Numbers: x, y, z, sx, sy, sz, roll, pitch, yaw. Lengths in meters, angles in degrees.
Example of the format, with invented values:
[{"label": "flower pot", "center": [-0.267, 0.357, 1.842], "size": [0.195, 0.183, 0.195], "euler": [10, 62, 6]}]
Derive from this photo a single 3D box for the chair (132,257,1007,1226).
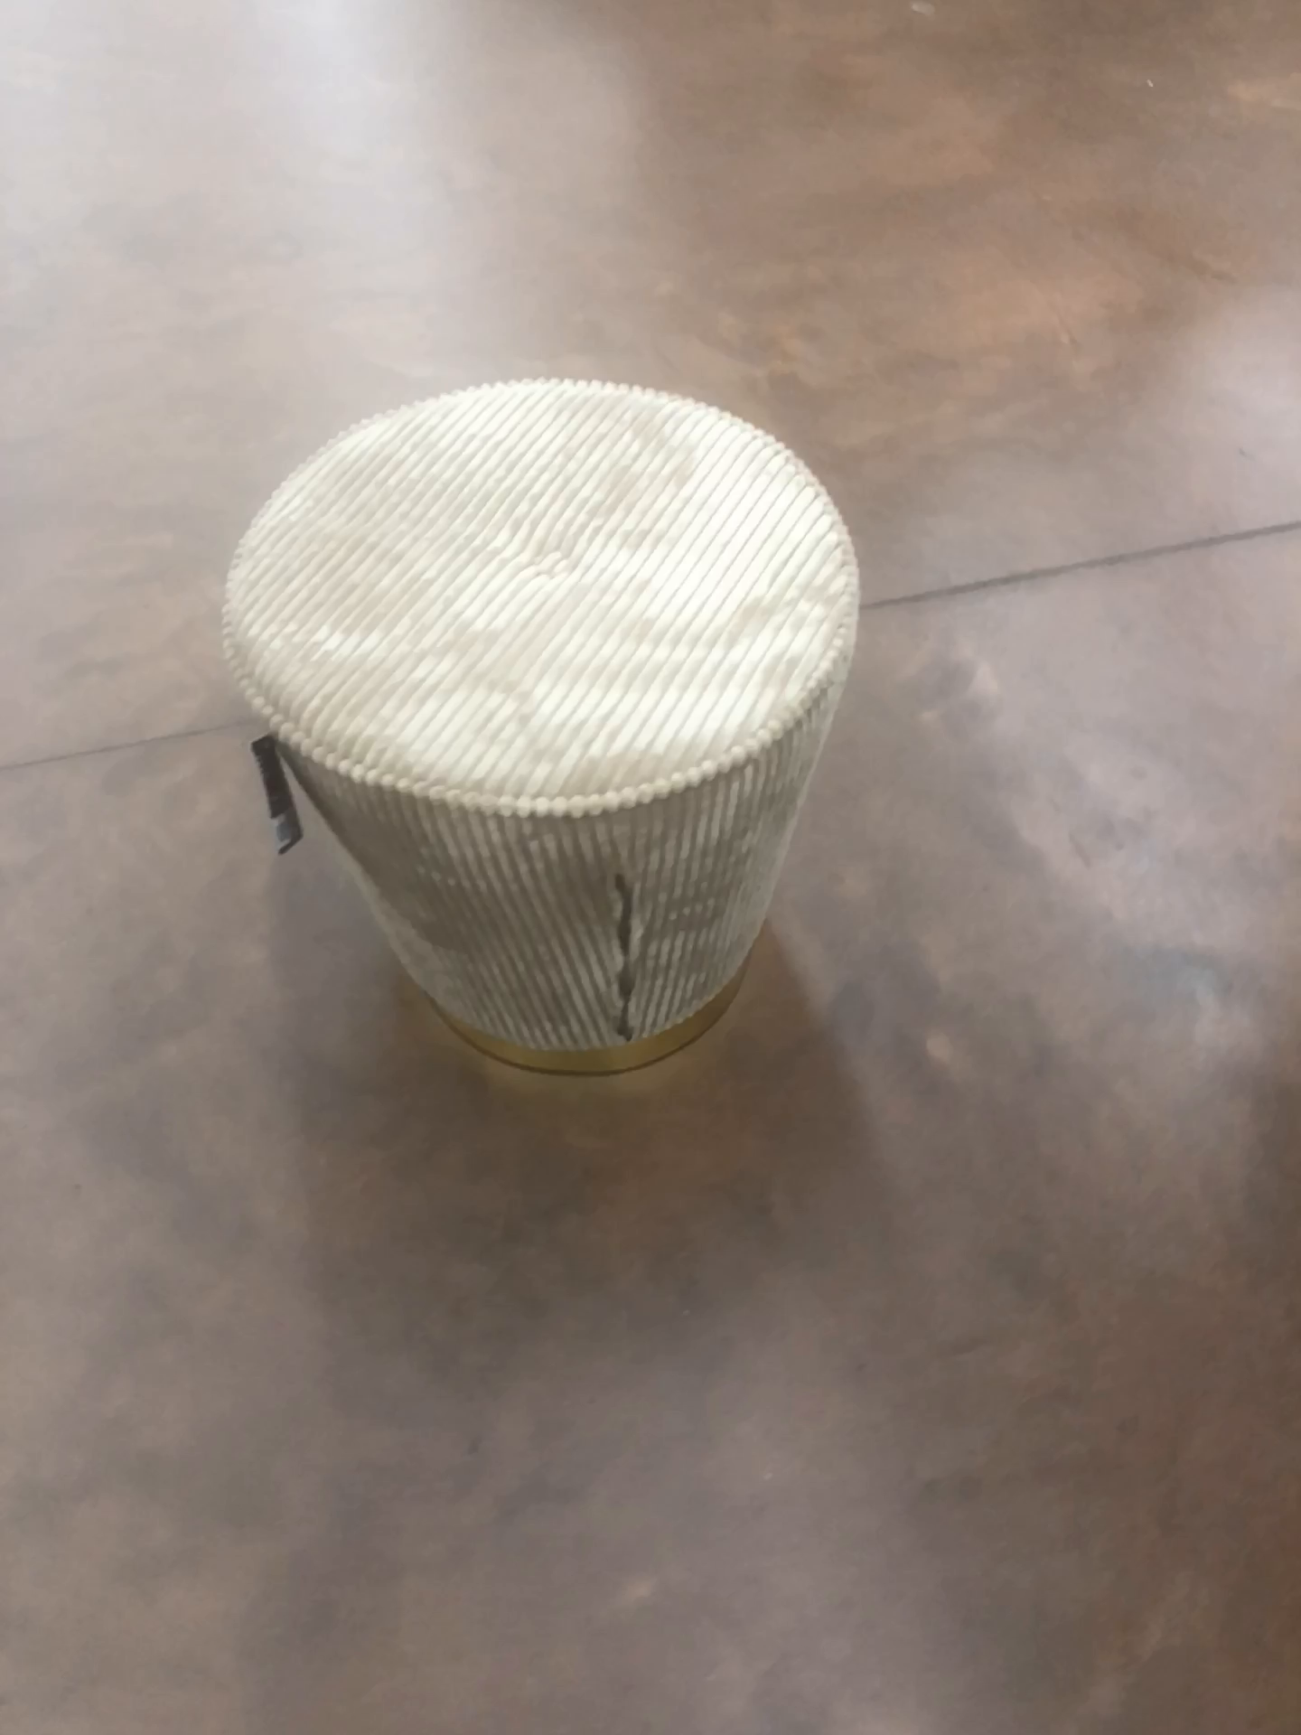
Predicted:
[{"label": "chair", "center": [-0.069, -0.098, 1.131], "size": [0.420, 0.479, 0.451], "euler": [-24, 55, -17]}]
